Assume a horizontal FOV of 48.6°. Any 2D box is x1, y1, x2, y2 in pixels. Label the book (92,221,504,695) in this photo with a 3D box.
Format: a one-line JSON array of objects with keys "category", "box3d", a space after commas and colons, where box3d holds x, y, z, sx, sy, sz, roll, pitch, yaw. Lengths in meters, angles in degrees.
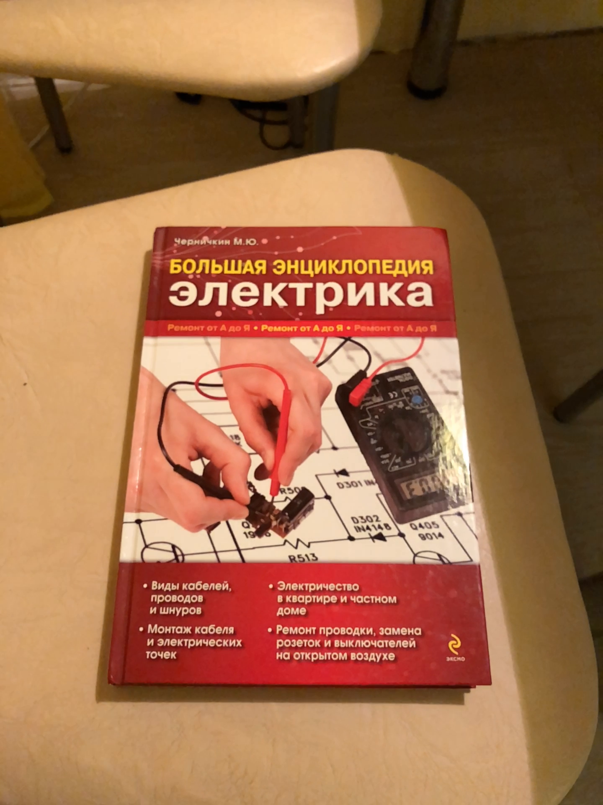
[{"category": "book", "box3d": [0.000, 0.016, 0.340, 0.172, 0.030, 0.241, 0, 67, 1]}]
